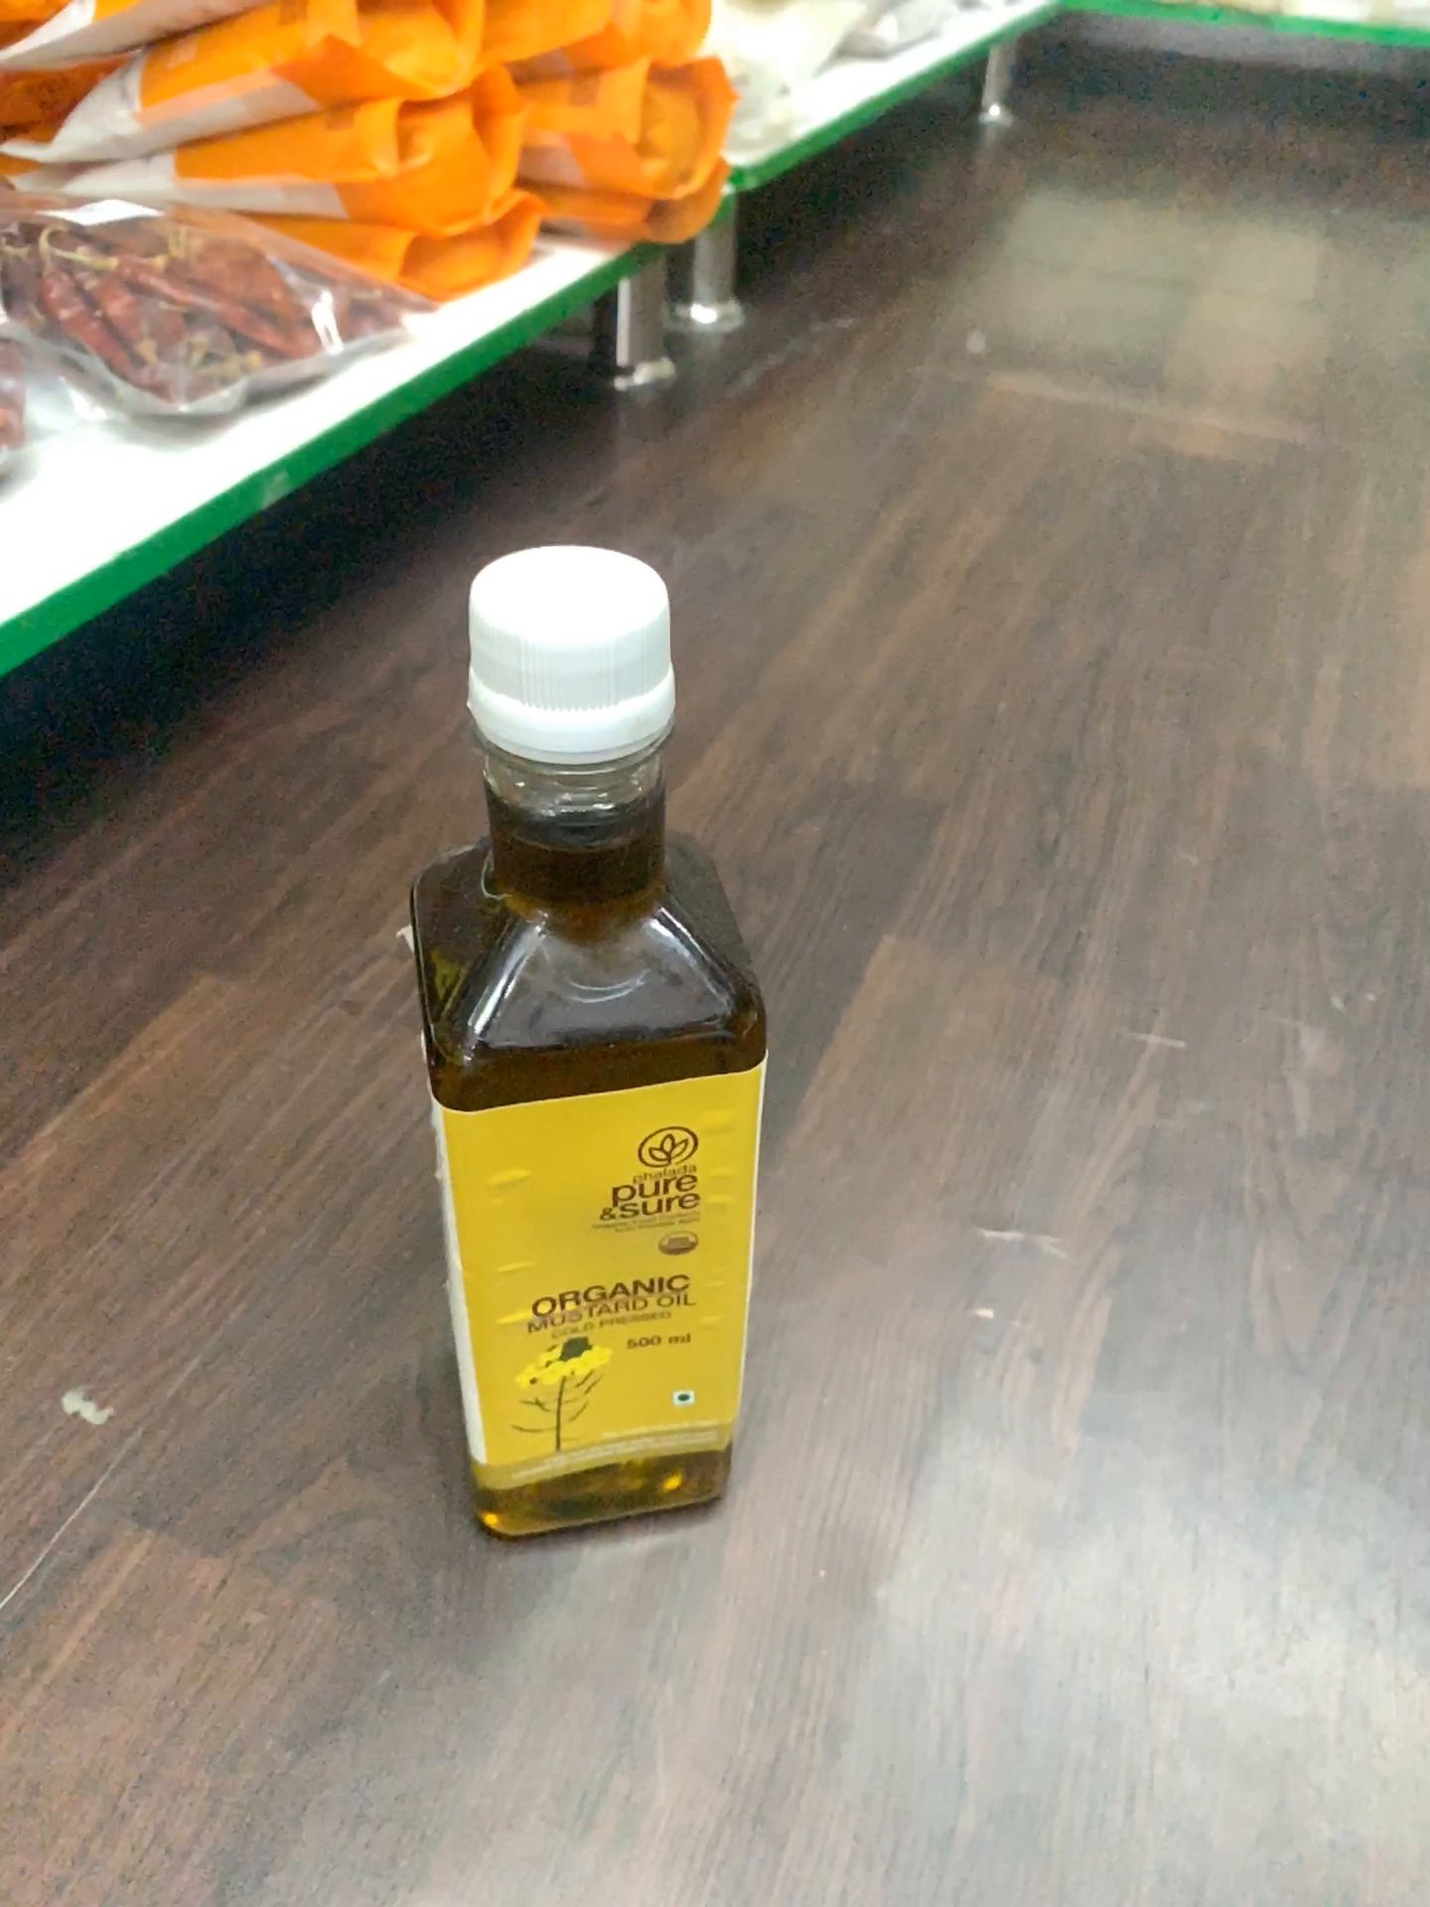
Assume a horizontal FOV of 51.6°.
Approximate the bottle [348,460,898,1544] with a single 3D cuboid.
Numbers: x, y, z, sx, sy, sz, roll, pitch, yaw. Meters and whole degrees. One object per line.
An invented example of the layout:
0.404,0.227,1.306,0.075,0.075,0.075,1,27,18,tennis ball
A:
-0.020,0.022,0.281,0.070,0.209,0.060,-7,40,-12,bottle
